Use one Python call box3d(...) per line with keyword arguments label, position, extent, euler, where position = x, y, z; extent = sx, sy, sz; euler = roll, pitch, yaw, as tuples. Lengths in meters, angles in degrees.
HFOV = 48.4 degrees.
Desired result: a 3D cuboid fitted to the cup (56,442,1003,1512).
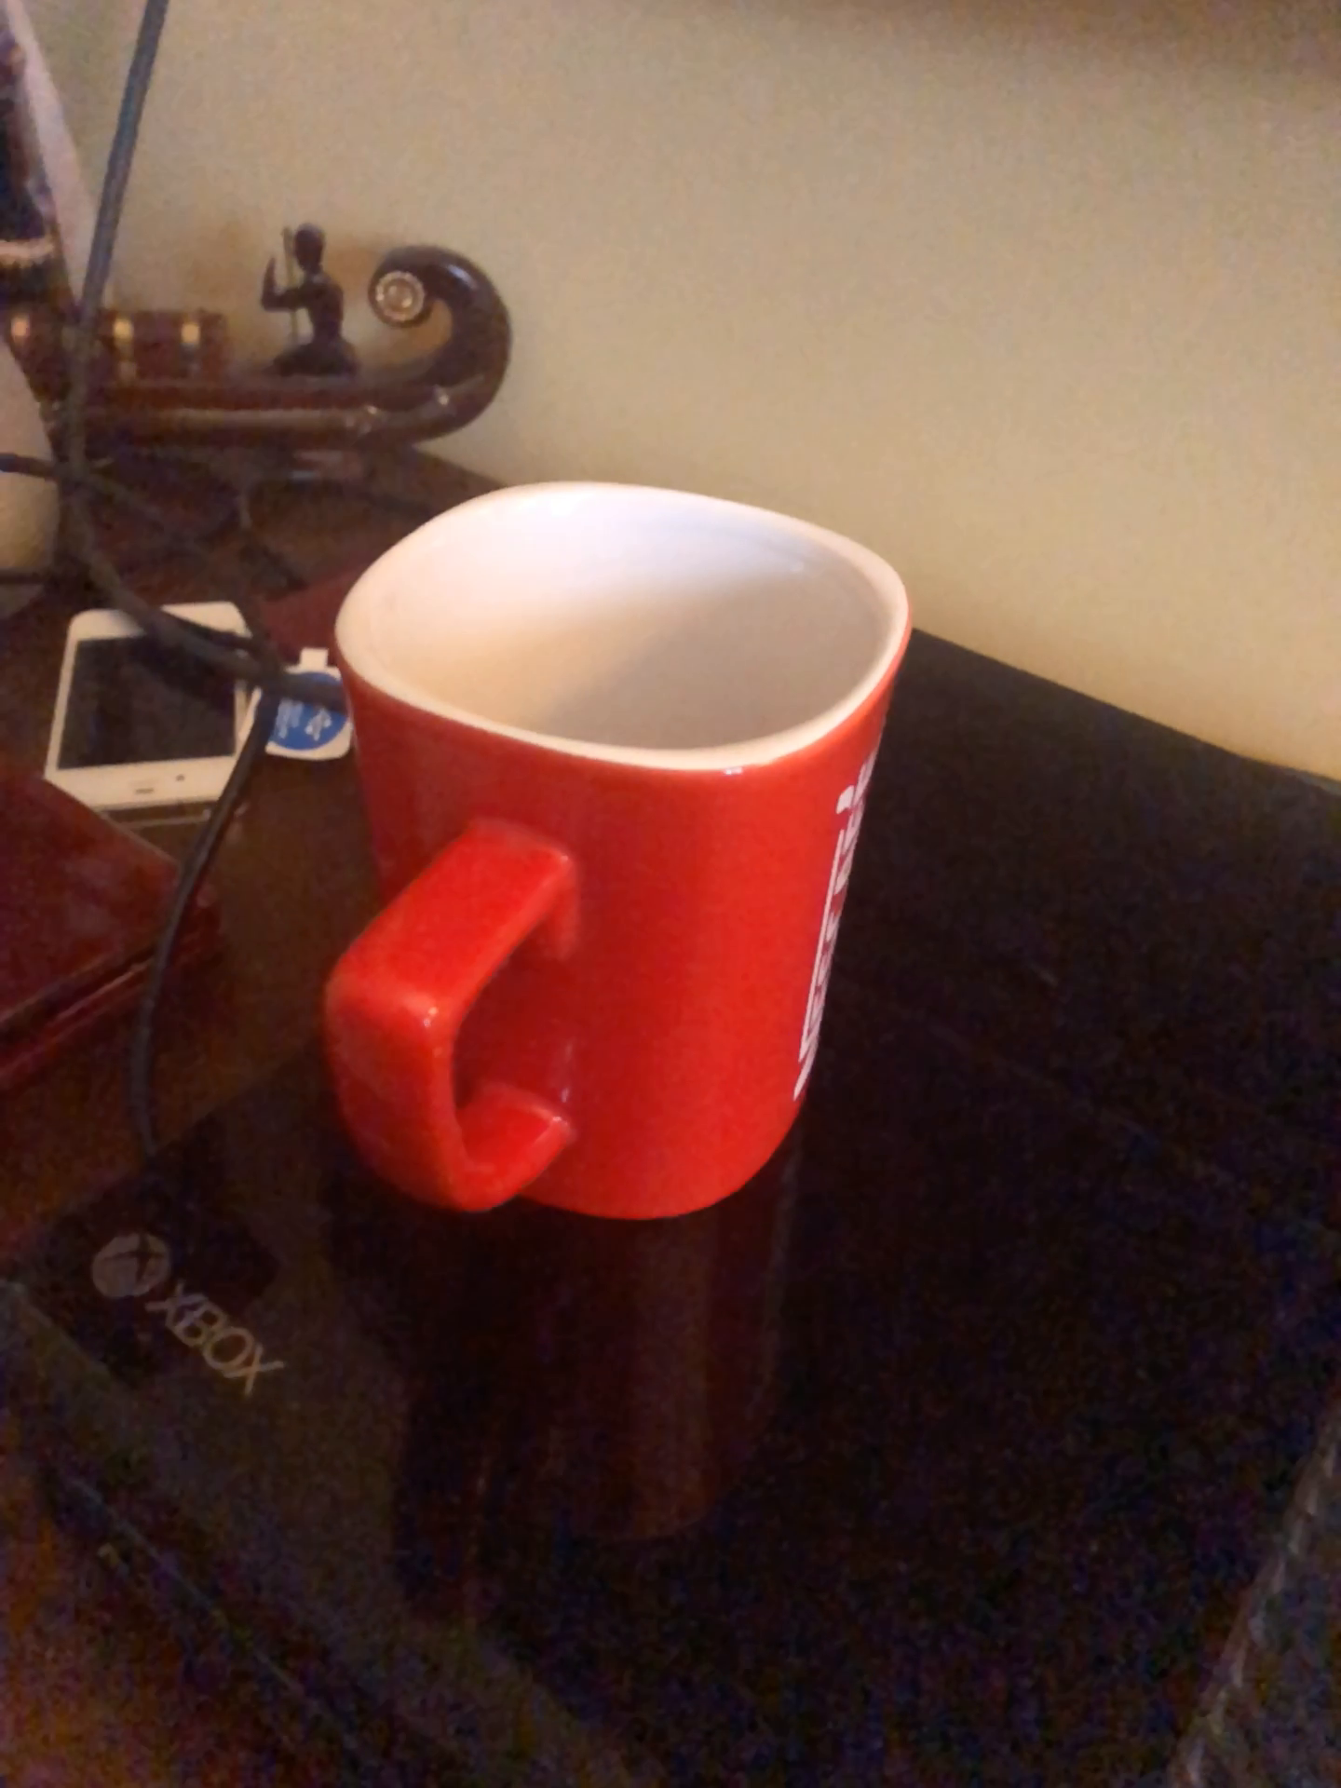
box3d(label="cup", position=(-0.011, 0.004, 0.219), extent=(0.080, 0.089, 0.111), euler=(17, 41, 15))
